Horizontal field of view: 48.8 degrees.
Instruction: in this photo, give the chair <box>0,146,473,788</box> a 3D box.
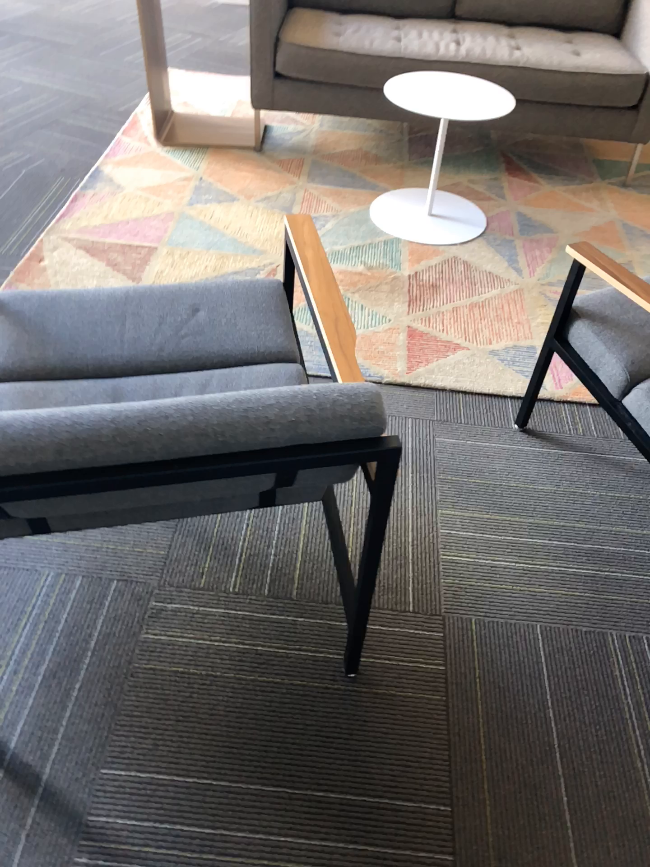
[{"bbox_3d":[-0.324,-0.019,1.375,0.790,0.697,0.924,-6,42,-12],"label":"chair"}]
